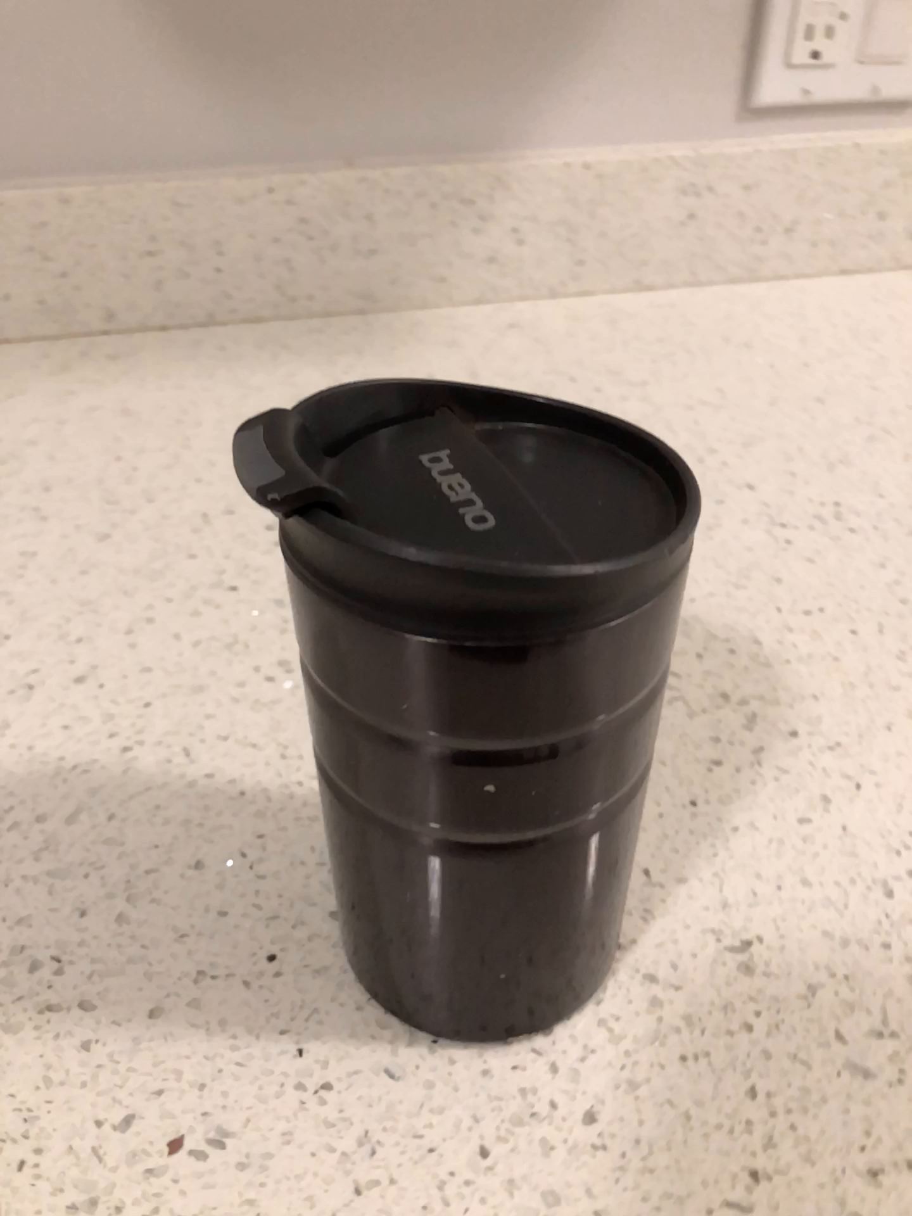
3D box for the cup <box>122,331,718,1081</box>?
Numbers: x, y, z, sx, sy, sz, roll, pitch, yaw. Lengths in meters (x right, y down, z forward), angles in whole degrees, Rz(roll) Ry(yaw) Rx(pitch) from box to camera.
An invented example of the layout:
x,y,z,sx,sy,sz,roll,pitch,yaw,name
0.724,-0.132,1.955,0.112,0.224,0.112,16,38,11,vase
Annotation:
x,y,z,sx,sy,sz,roll,pitch,yaw,name
0.001,0.017,0.209,0.084,0.116,0.087,0,36,0,cup
